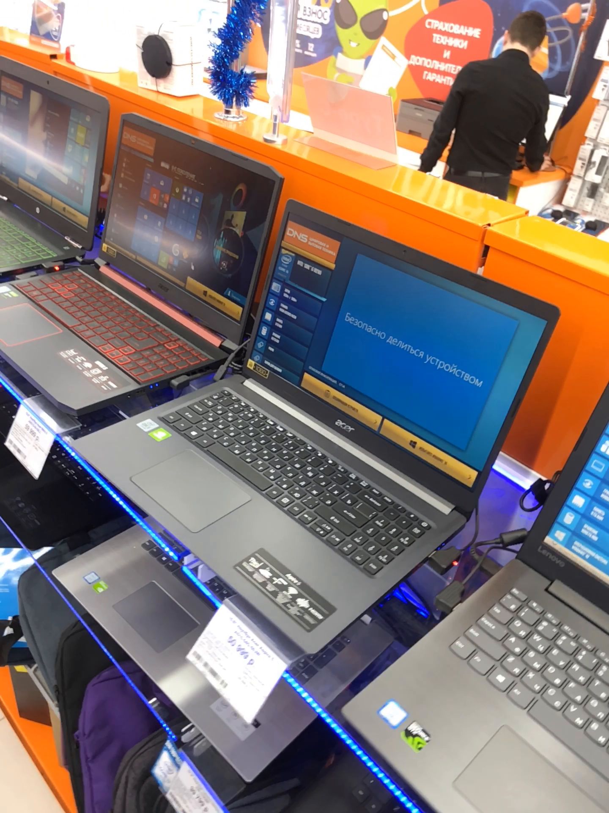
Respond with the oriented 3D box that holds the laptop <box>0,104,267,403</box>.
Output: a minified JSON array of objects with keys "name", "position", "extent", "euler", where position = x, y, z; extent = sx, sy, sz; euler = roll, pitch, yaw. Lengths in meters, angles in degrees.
[{"name":"laptop","position":[-0.272,-0.230,0.896],"extent":[0.310,0.230,0.302],"euler":[32,40,29]}]

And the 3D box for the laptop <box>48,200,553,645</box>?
[{"name":"laptop","position":[-0.015,-0.027,0.675],"extent":[0.353,0.224,0.303],"euler":[31,39,32]}]

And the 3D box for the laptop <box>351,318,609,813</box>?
[{"name":"laptop","position":[0.273,0.160,0.439],"extent":[0.323,0.230,0.349],"euler":[-25,45,-39]}]
